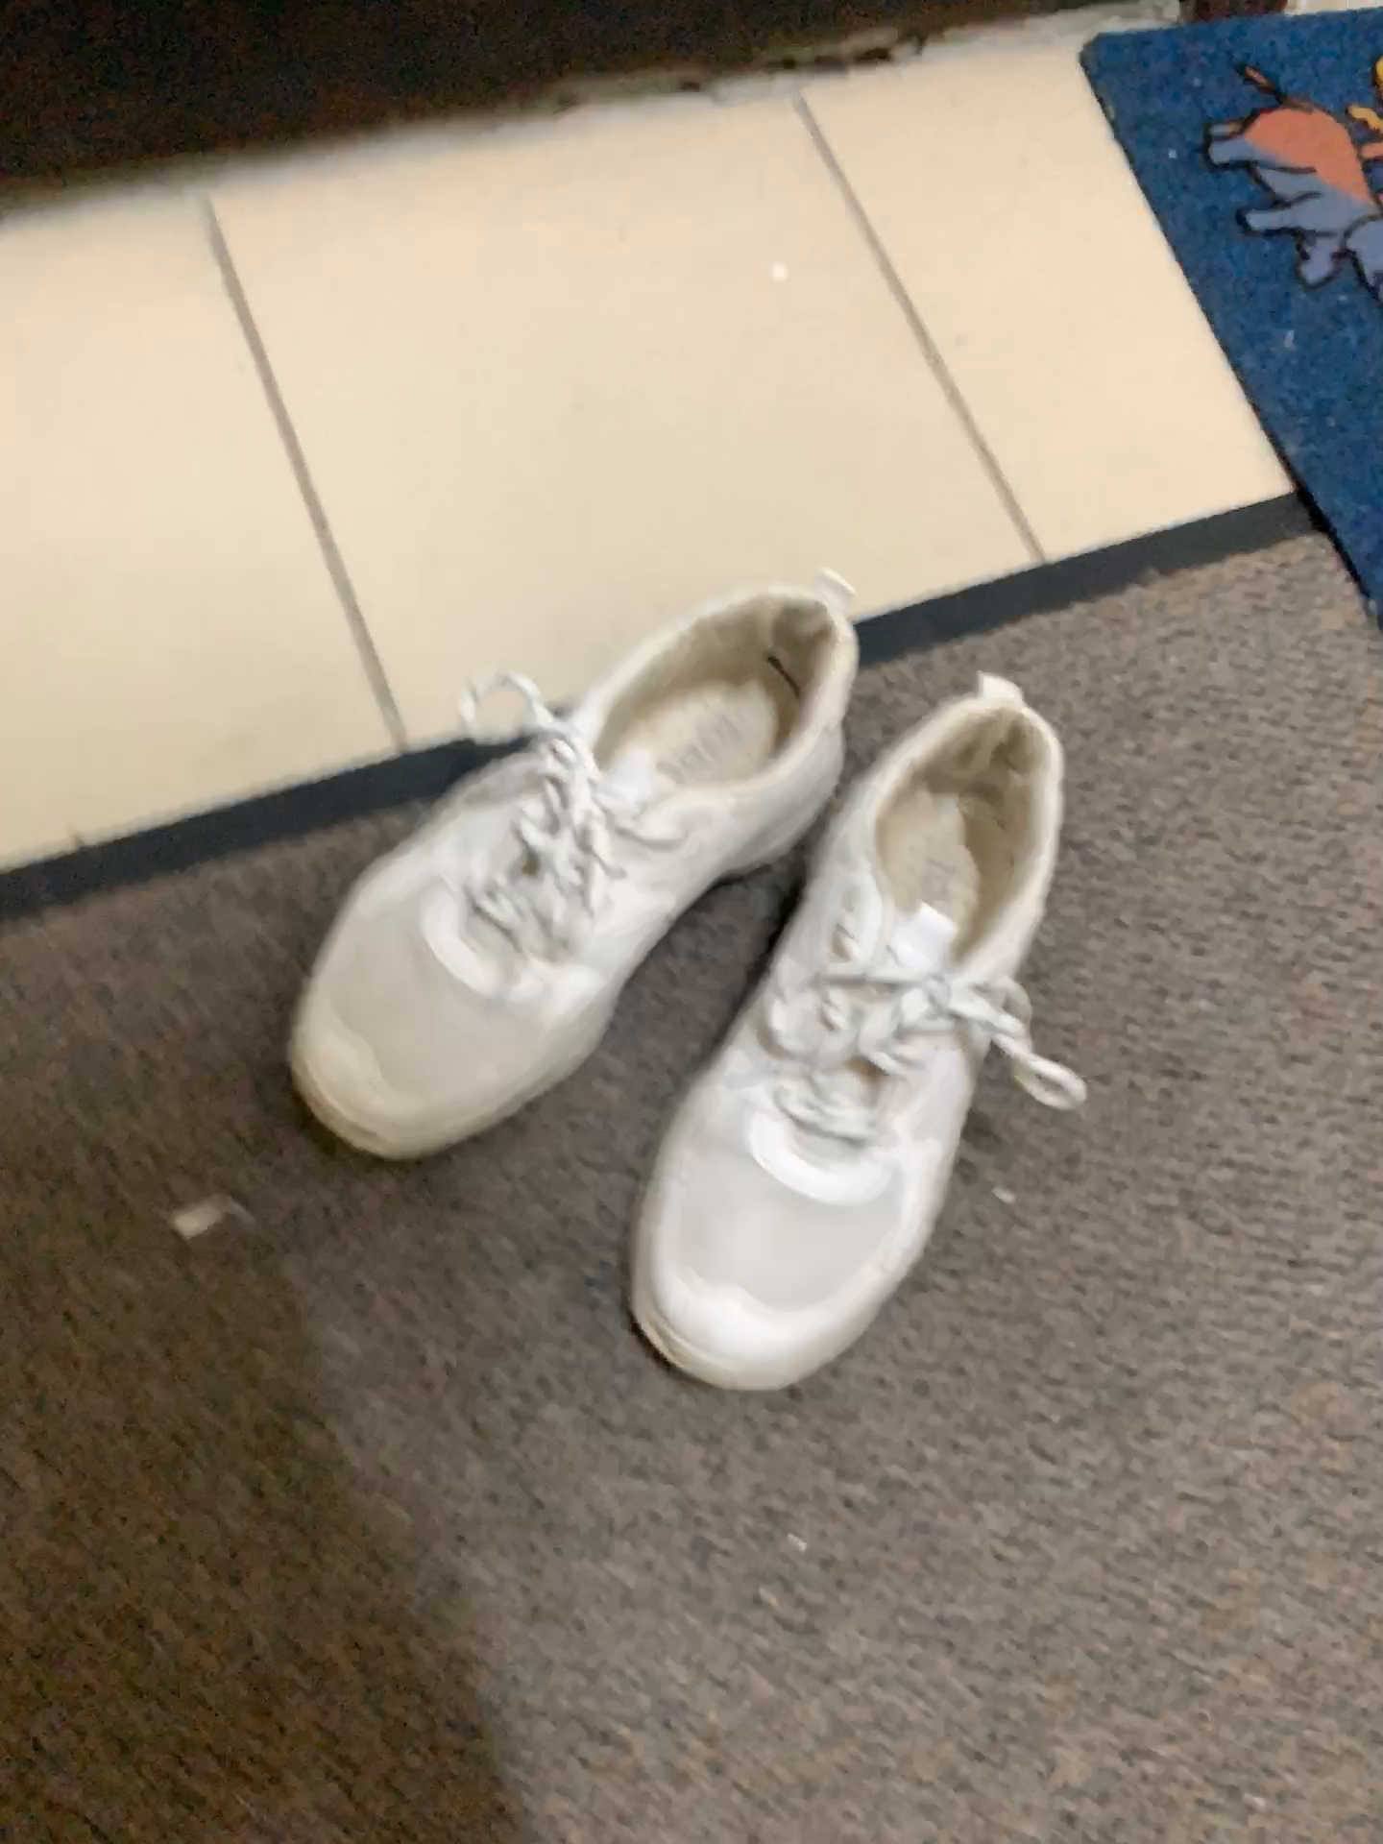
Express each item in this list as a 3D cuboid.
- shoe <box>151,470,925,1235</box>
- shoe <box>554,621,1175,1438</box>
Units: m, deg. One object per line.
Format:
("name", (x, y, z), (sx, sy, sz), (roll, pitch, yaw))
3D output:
("shoe", (-0.047, -0.020, 0.502), (0.100, 0.140, 0.230), (43, 69, 10))
("shoe", (0.055, 0.042, 0.493), (0.100, 0.140, 0.230), (27, 67, 3))
